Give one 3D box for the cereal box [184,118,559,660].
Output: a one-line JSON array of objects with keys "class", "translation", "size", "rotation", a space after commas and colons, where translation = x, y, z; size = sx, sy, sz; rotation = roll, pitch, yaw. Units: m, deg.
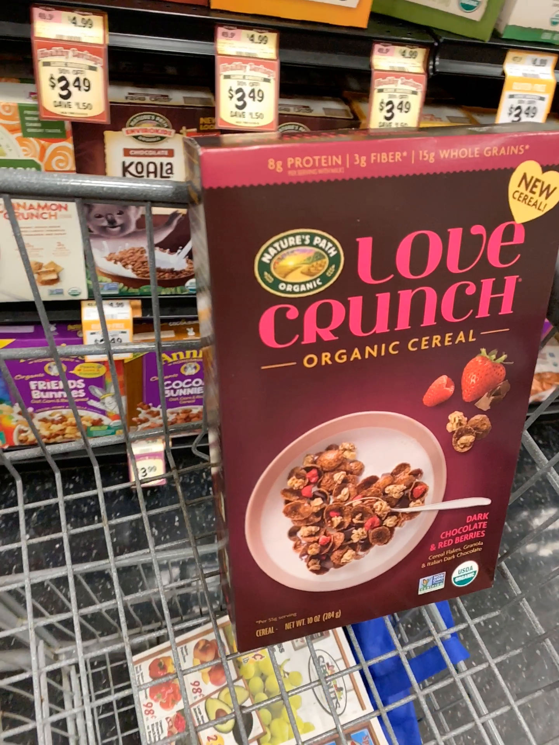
[{"class": "cereal box", "translation": [0.047, 0.014, 0.285], "size": [0.160, 0.249, 0.060], "rotation": [-8, 29, -15]}]
